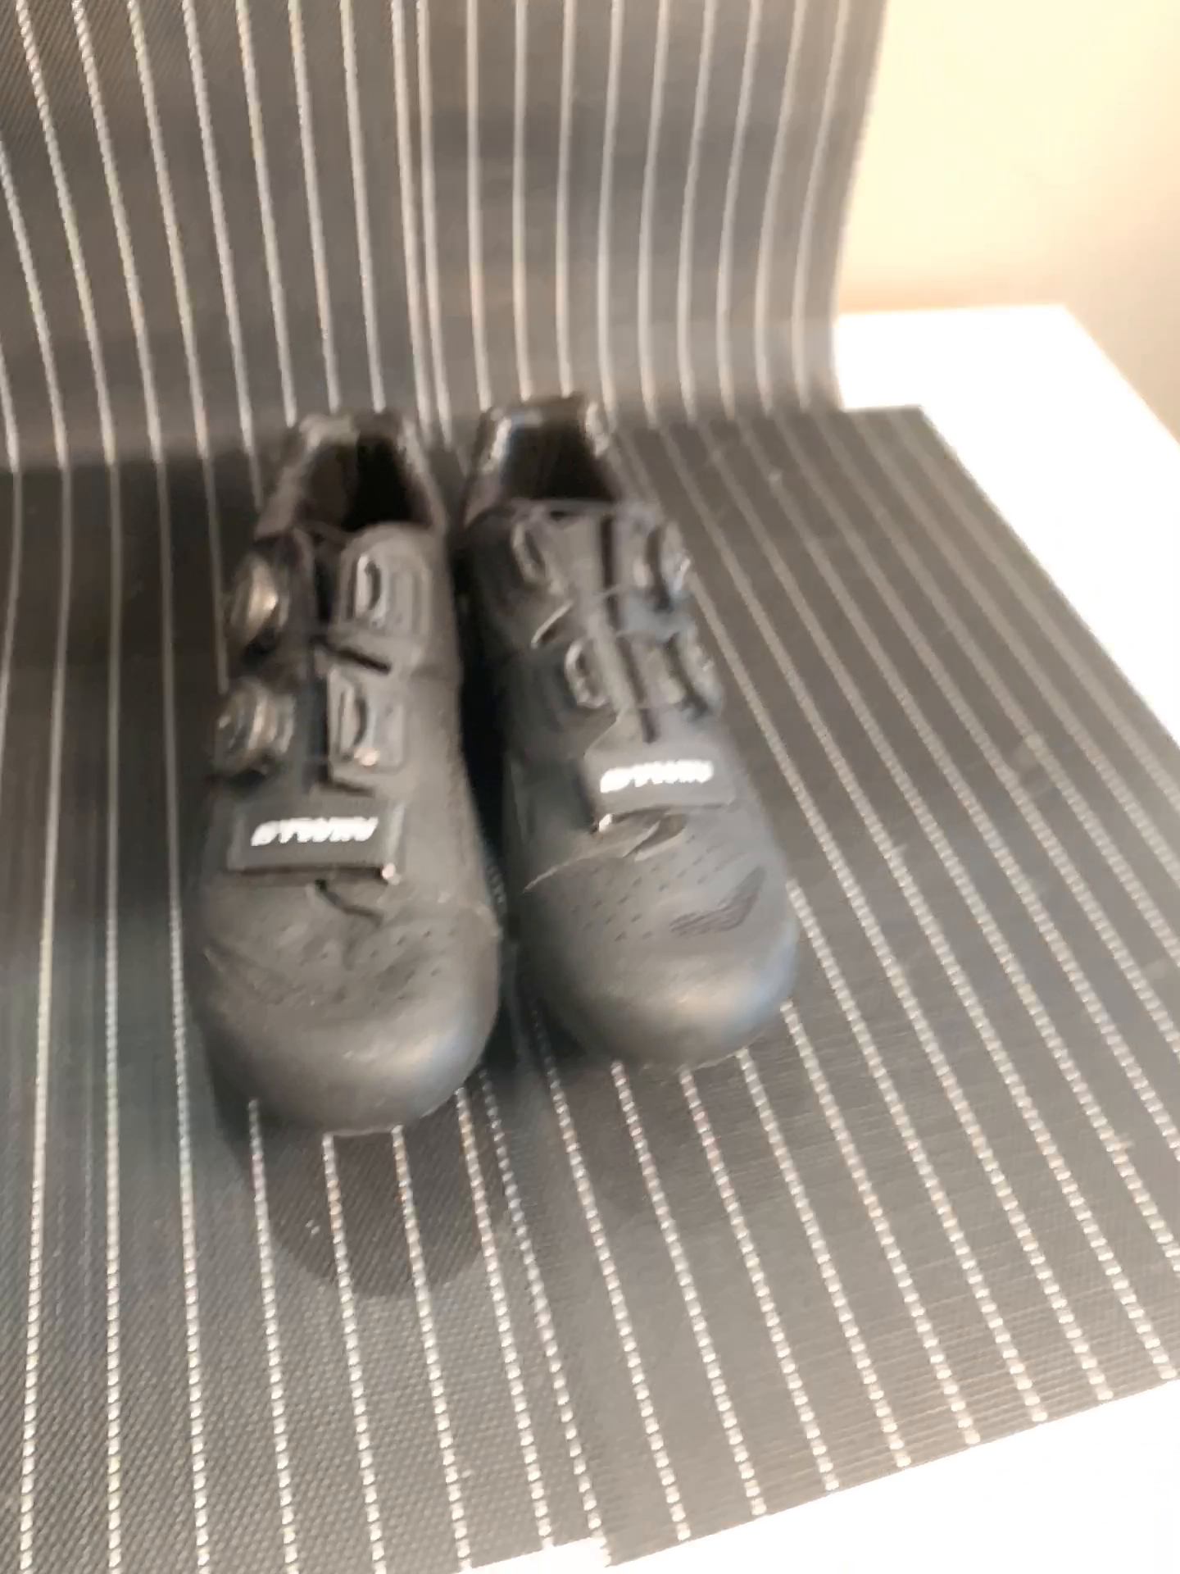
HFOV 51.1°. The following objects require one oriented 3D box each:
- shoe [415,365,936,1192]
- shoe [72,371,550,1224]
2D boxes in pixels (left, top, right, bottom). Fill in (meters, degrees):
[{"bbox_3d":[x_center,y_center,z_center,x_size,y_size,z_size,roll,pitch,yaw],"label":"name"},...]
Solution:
[{"bbox_3d":[0.006,-0.023,0.406,0.100,0.090,0.271,-5,51,-10],"label":"shoe"},{"bbox_3d":[-0.077,-0.016,0.380,0.100,0.090,0.261,-2,50,-8],"label":"shoe"}]
